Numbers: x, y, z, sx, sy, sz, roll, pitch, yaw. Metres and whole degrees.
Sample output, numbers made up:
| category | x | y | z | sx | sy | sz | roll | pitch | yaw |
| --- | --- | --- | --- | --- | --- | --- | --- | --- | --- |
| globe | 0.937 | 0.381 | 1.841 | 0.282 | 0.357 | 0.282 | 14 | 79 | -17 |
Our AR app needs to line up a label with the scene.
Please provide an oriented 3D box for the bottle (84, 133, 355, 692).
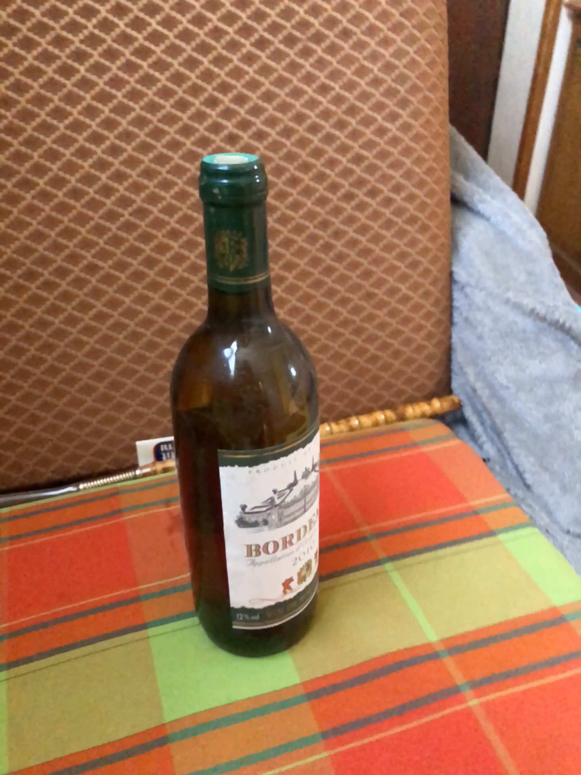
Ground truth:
| category | x | y | z | sx | sy | sz | roll | pitch | yaw |
| --- | --- | --- | --- | --- | --- | --- | --- | --- | --- |
| bottle | -0.026 | 0.020 | 0.333 | 0.080 | 0.268 | 0.080 | -1 | 29 | 1 |
